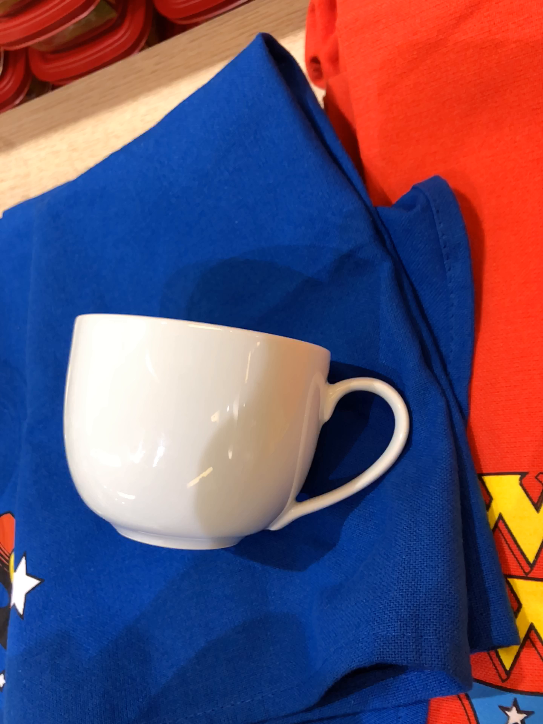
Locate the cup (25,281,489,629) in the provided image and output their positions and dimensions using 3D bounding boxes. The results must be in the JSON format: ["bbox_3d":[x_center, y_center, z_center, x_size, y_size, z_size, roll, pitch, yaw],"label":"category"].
[{"bbox_3d":[-0.005,0.030,0.225,0.130,0.080,0.090,8,88,-4],"label":"cup"}]
